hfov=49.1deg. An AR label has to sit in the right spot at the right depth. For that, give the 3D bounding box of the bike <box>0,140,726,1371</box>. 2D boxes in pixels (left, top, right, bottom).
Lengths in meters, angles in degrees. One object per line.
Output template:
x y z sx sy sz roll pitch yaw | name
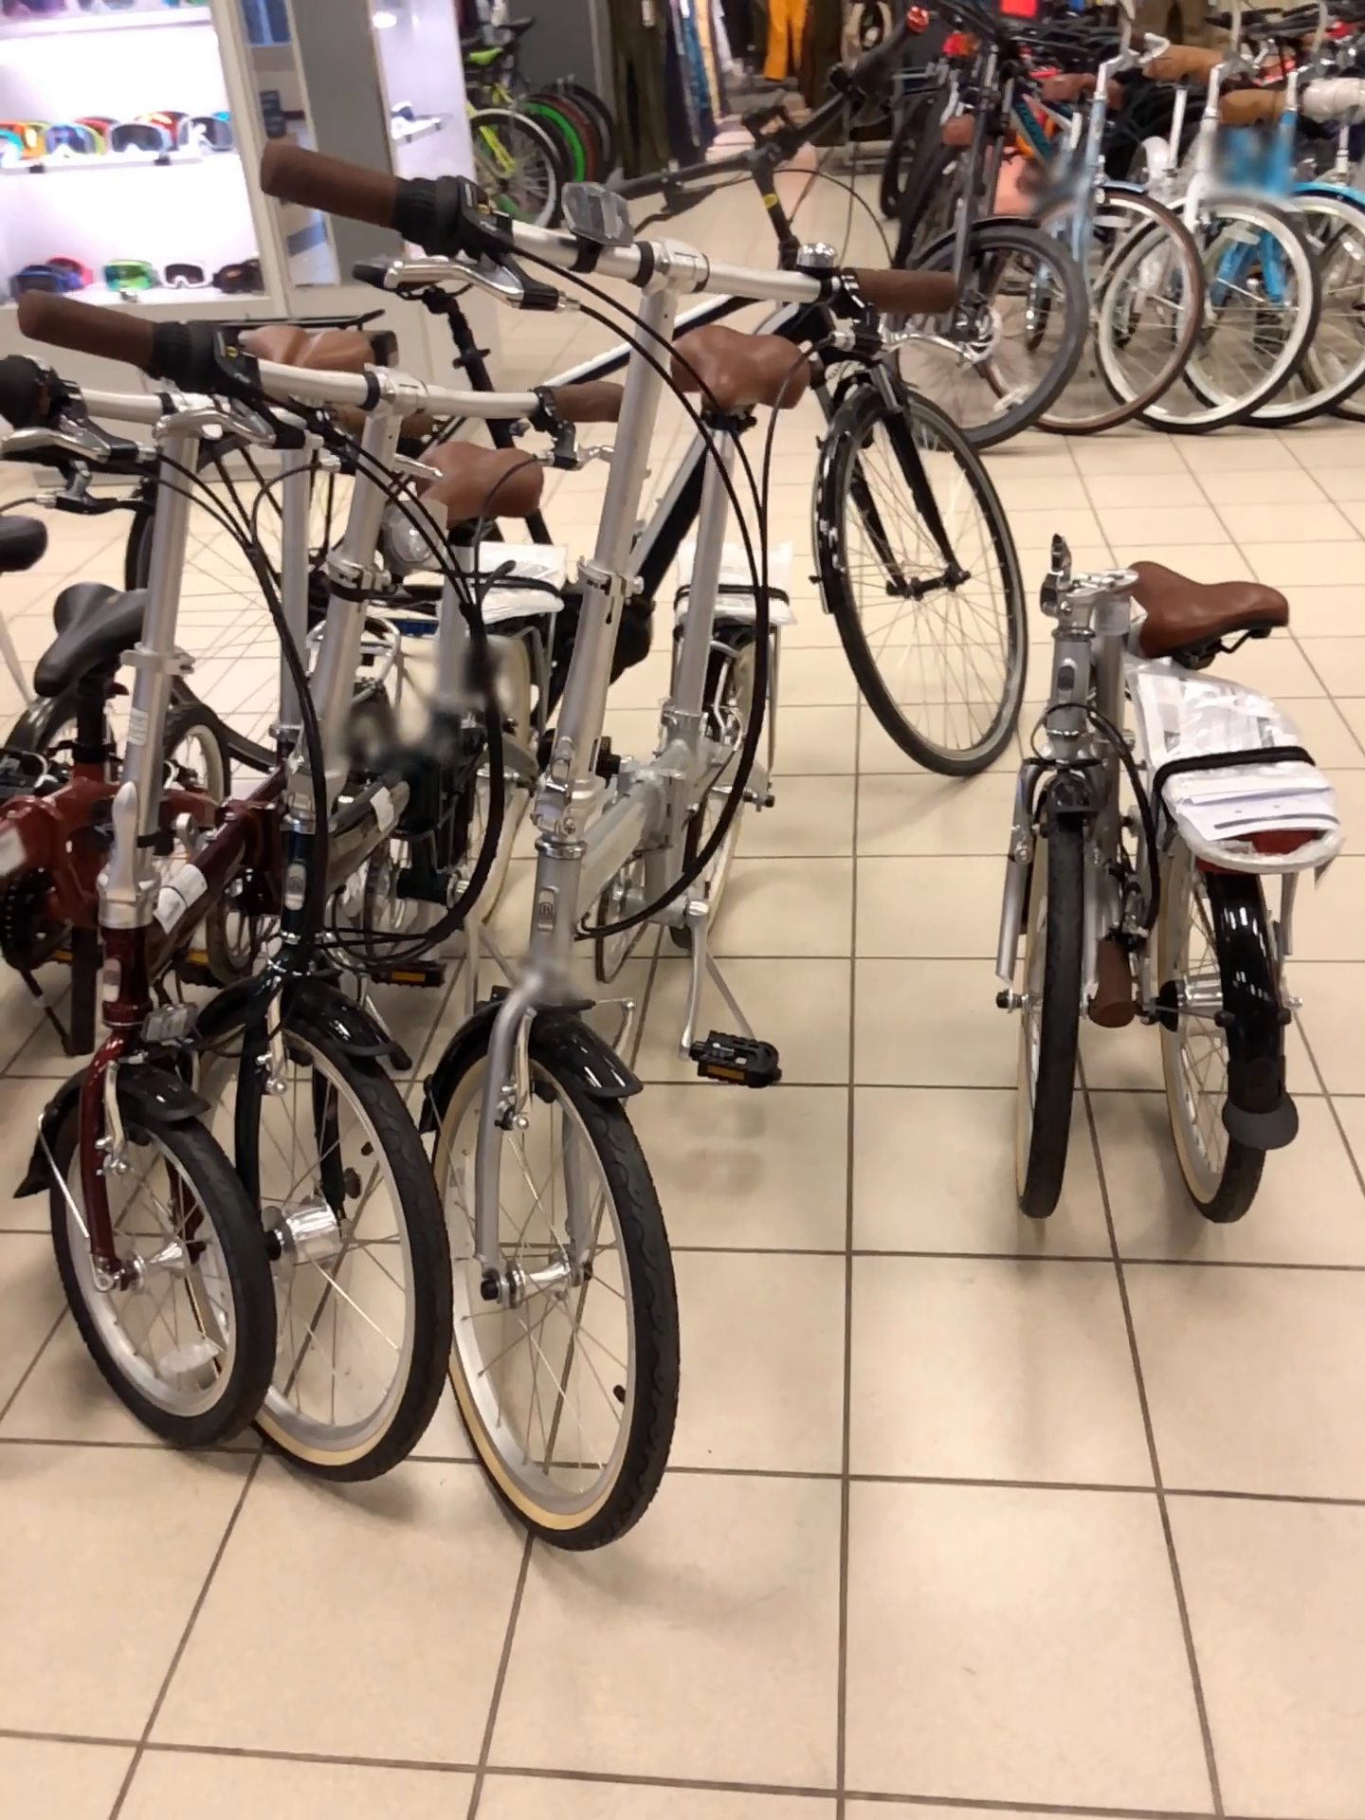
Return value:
-0.279 -0.278 1.837 0.556 1.036 1.146 -2 32 5 | bike

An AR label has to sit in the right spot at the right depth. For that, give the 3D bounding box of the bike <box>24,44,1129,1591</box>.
0.050 -0.250 1.614 0.552 1.153 1.366 0 30 7 | bike
